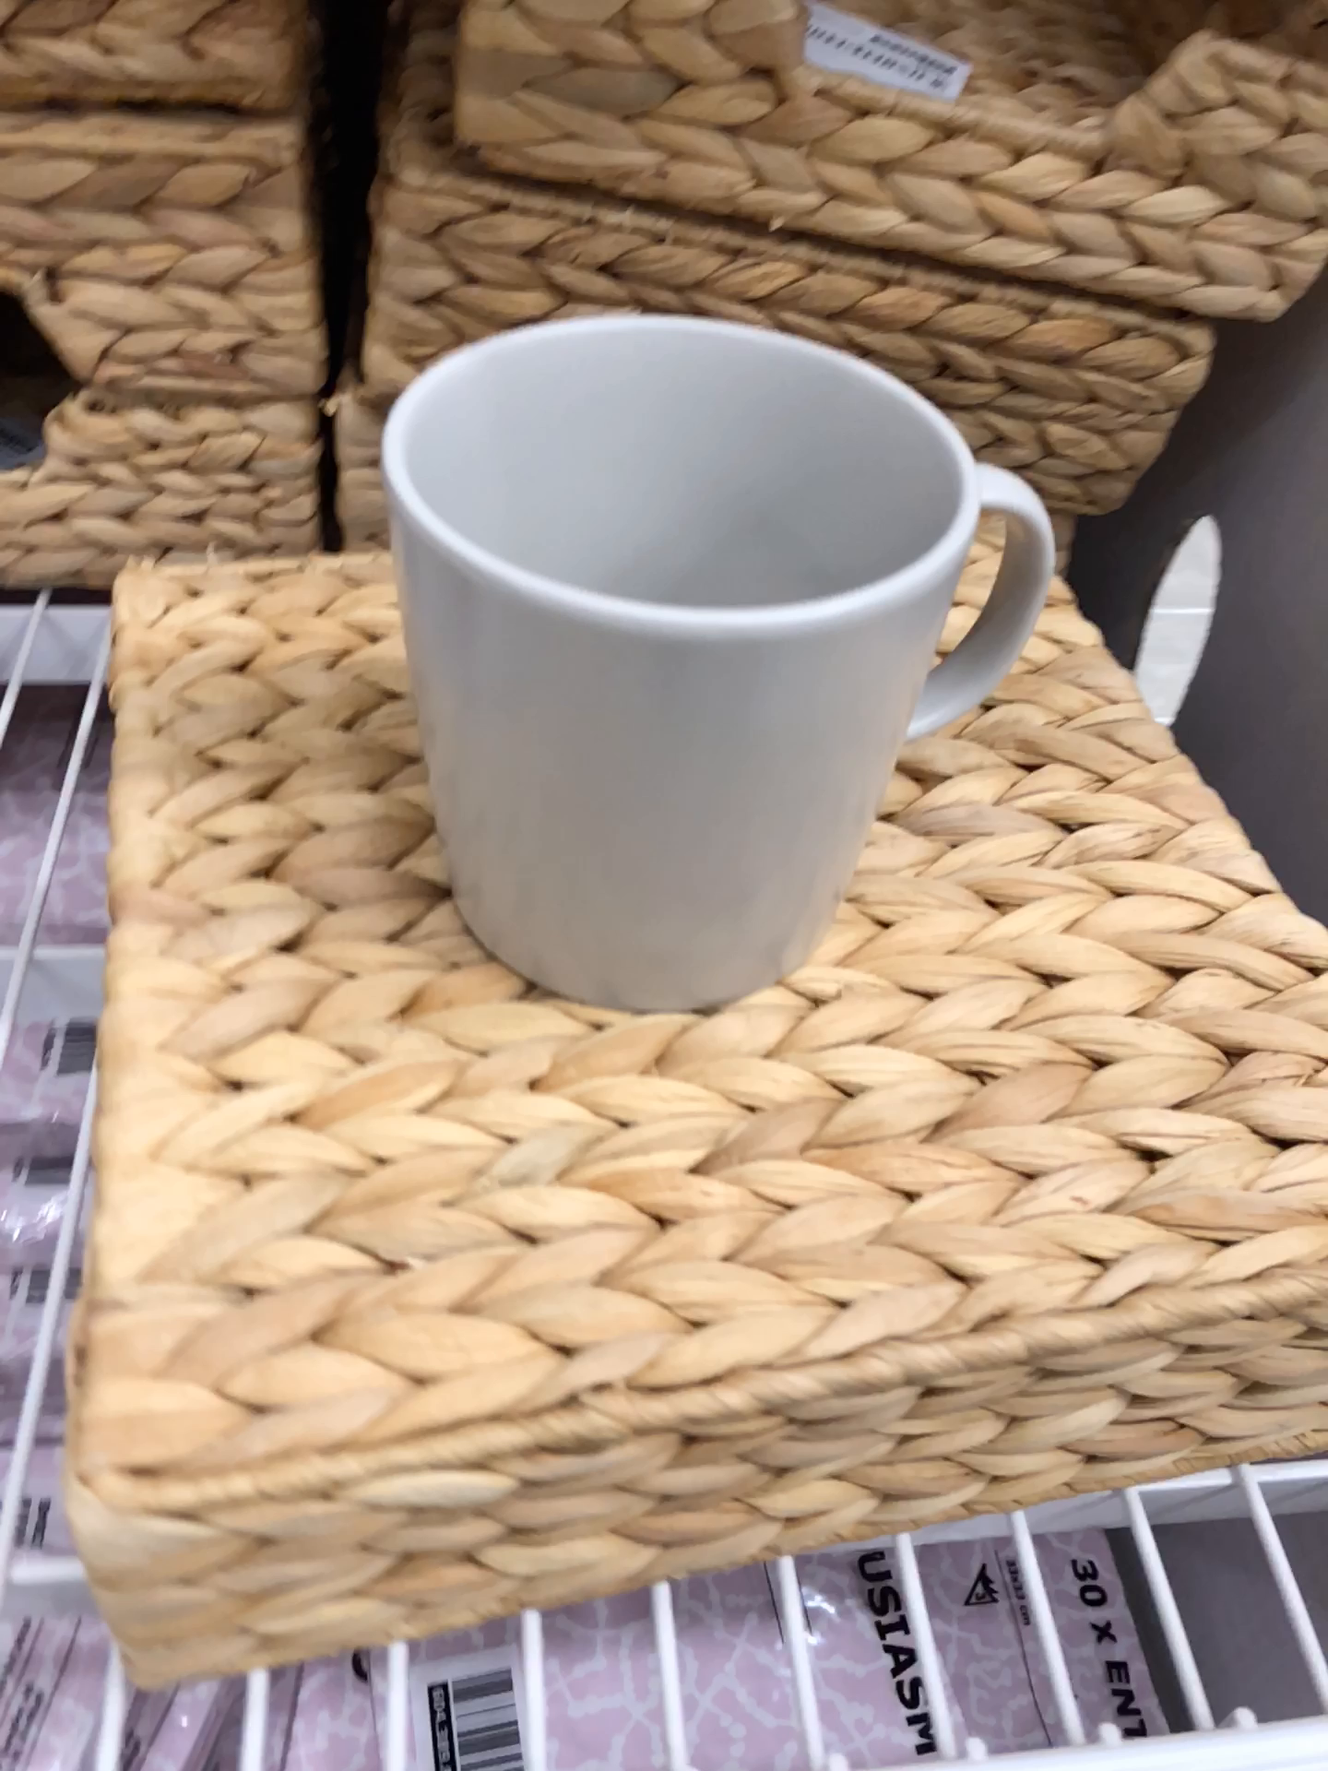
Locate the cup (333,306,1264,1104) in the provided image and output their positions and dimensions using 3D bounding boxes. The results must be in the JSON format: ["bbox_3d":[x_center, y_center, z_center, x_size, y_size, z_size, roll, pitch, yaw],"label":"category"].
[{"bbox_3d":[0.012,-0.035,0.255,0.120,0.090,0.090,-8,45,-13],"label":"cup"}]
